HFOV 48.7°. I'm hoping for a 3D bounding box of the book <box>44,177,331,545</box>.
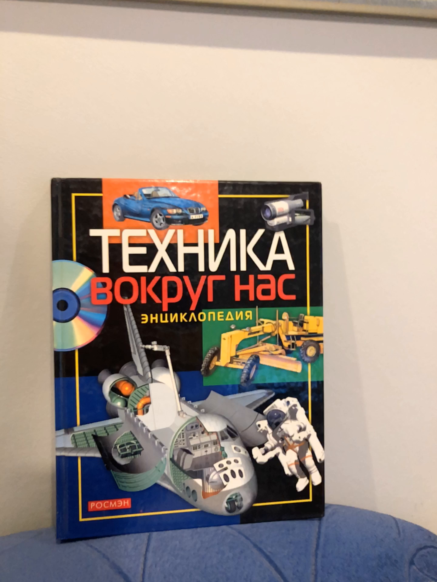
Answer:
[{"bbox_3d":[-0.021,0.051,0.395,0.220,0.280,0.030,-1,1,-8],"label":"book"}]
